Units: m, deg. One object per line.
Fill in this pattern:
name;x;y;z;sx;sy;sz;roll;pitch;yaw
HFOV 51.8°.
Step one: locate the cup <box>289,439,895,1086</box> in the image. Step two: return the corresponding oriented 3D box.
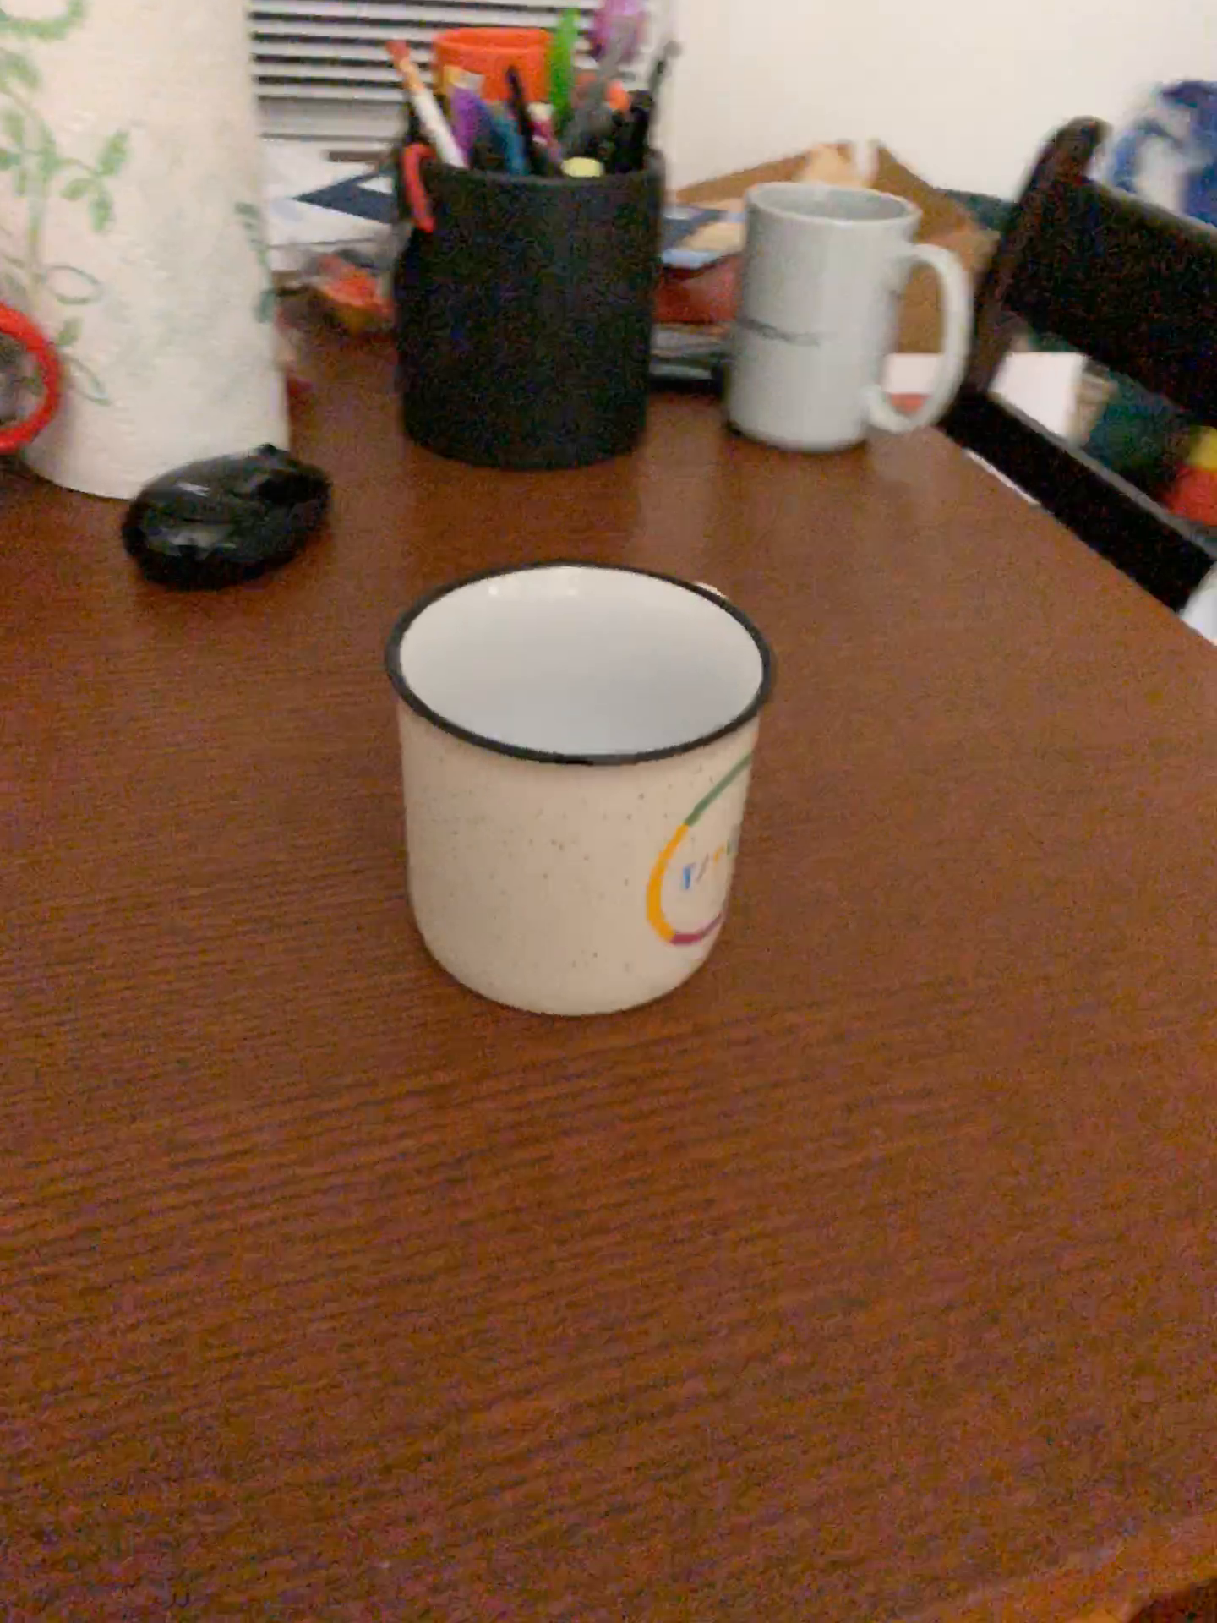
cup;0.001;-0.025;0.361;0.100;0.099;0.151;21;40;20
